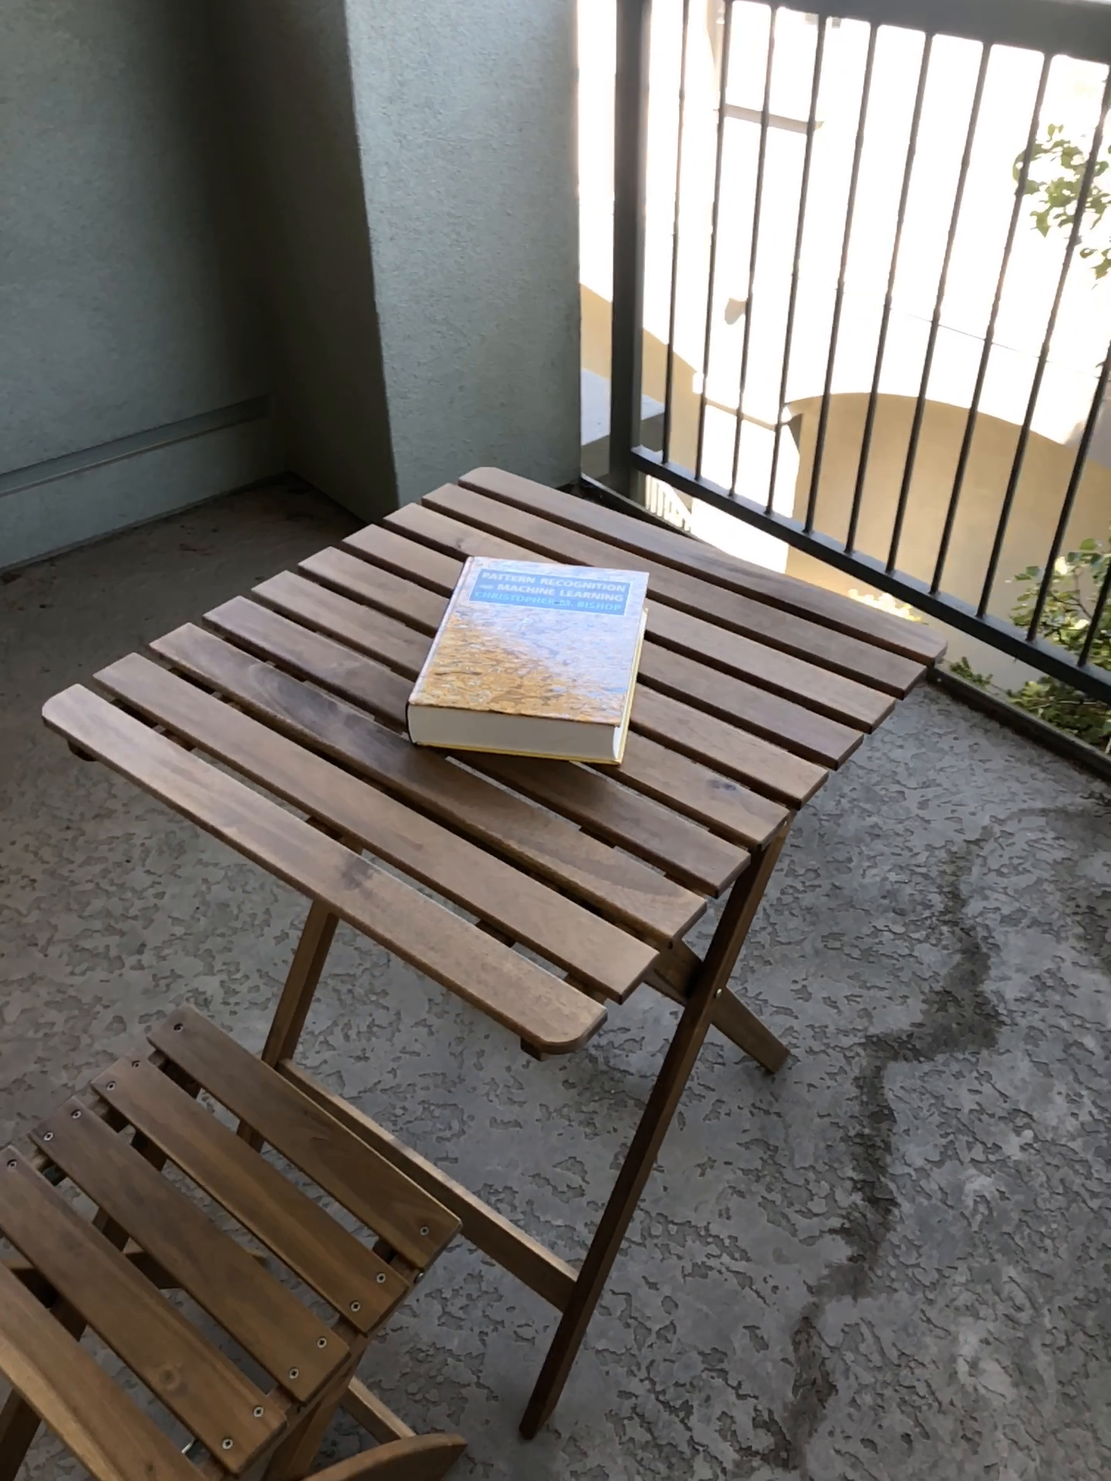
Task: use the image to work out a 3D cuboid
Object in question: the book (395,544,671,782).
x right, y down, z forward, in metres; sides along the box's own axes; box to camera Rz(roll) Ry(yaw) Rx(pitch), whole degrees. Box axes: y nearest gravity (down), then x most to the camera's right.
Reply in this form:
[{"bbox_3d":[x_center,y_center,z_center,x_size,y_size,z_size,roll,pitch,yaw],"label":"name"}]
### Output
[{"bbox_3d":[-0.009,-0.075,1.041,0.190,0.050,0.251,5,40,8],"label":"book"}]
